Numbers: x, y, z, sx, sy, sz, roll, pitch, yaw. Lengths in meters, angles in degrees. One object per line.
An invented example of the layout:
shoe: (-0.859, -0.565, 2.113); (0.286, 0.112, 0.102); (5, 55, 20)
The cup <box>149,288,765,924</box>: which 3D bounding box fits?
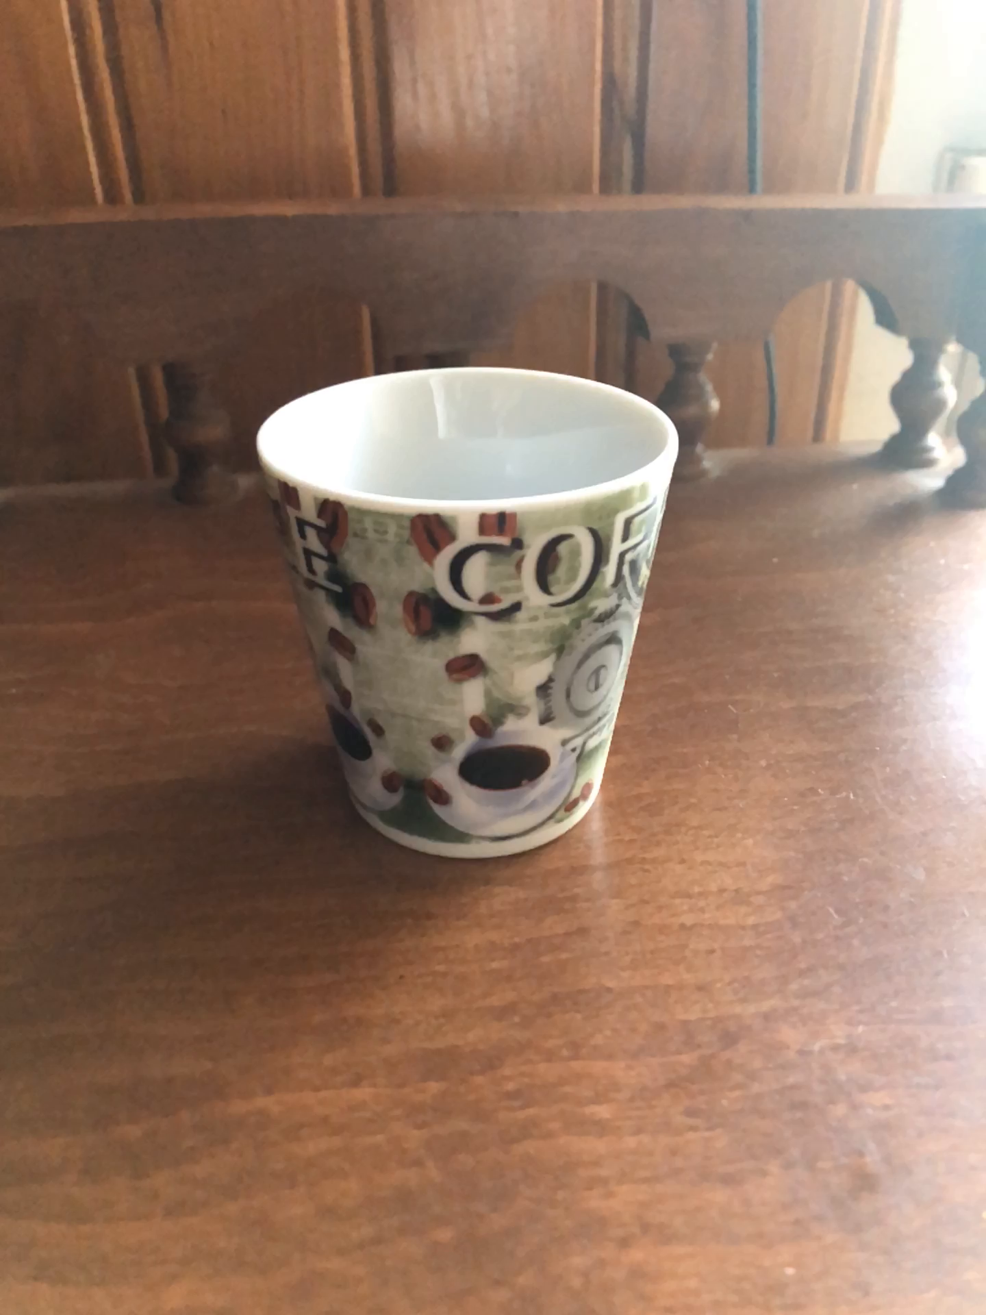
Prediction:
cup: (0.002, -0.016, 0.171); (0.060, 0.060, 0.081); (11, 33, 19)
